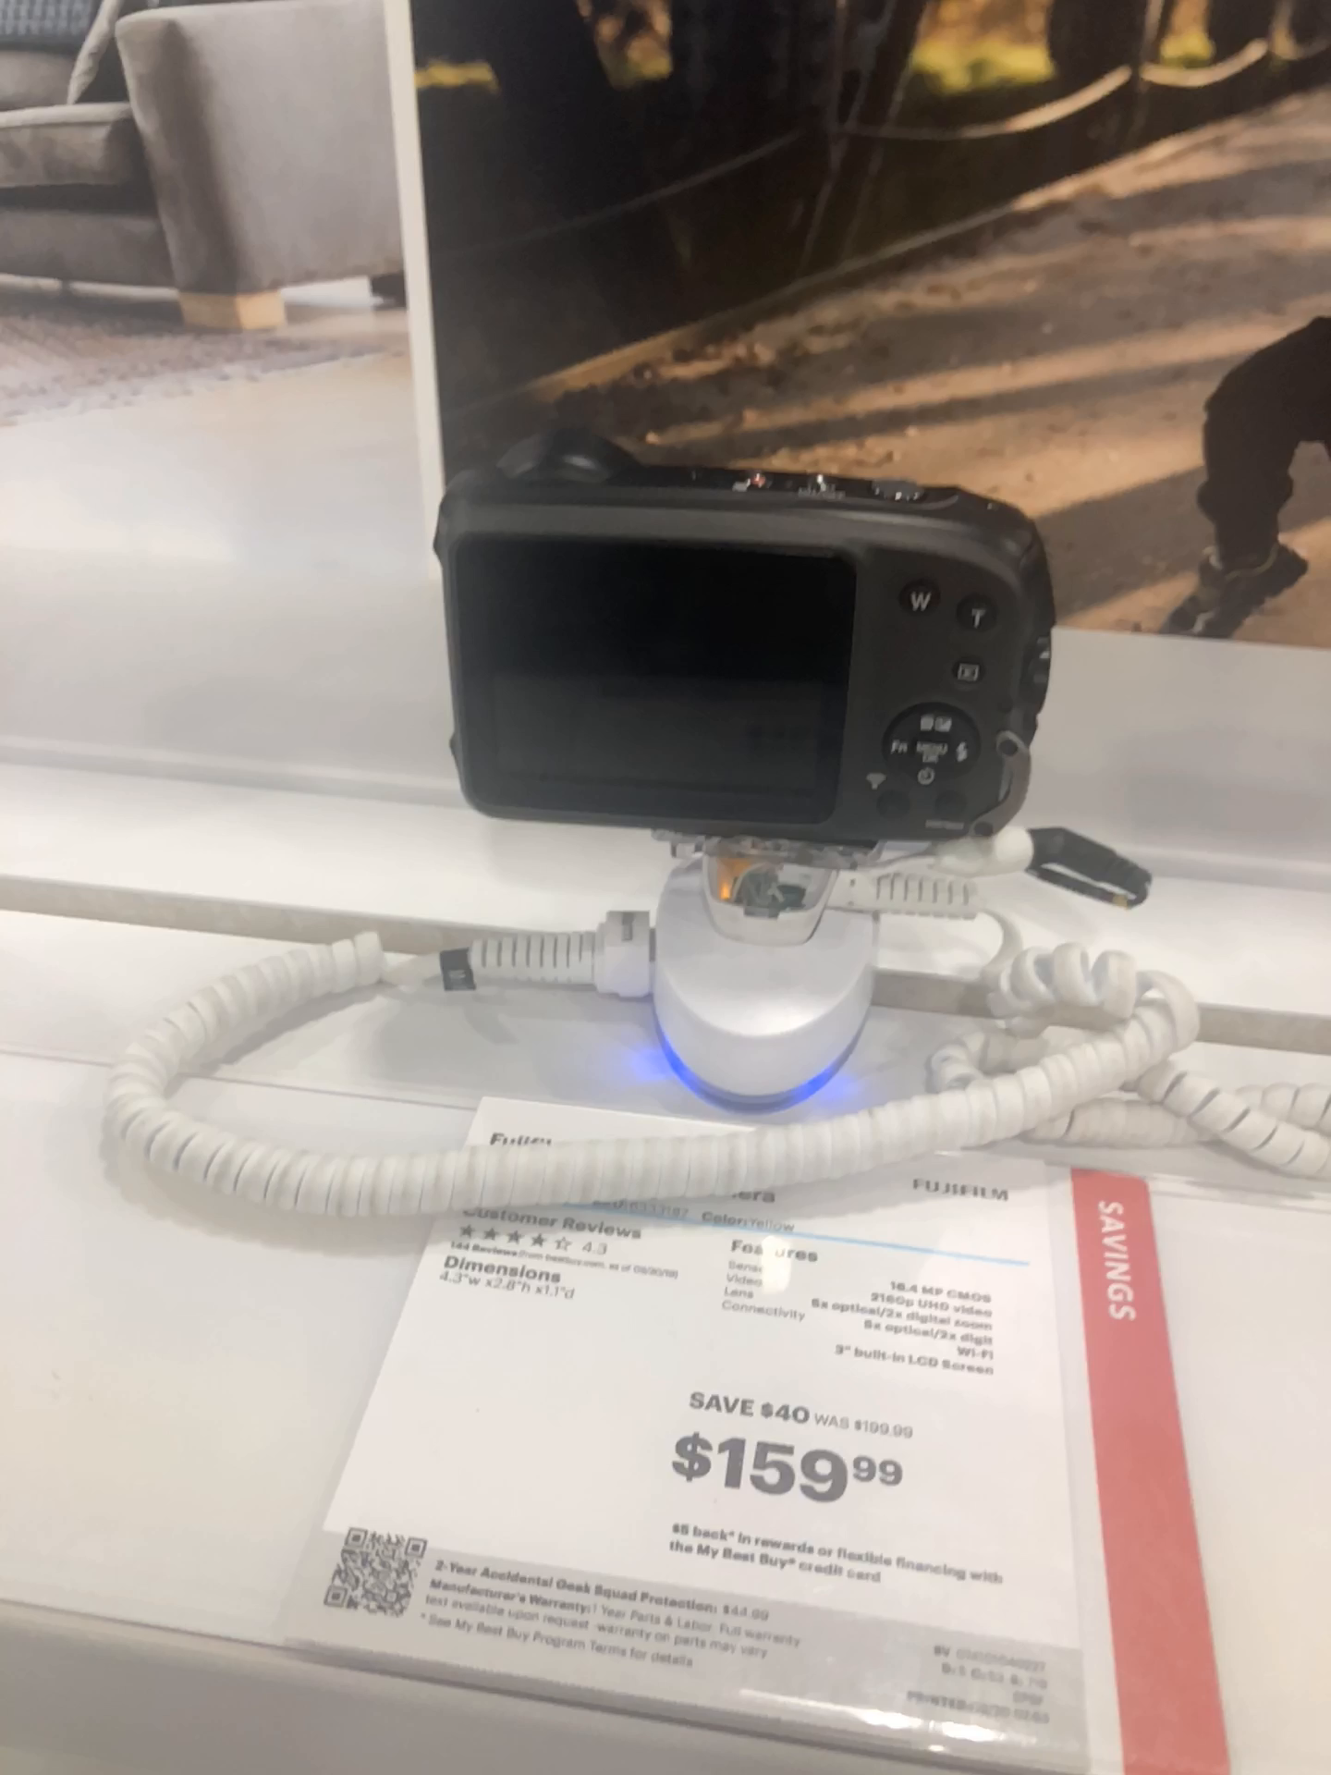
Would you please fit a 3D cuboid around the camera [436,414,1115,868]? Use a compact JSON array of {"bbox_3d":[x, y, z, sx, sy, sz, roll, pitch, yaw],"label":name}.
[{"bbox_3d":[0.018,-0.045,0.273,0.110,0.070,0.030,4,35,4],"label":"camera"}]
